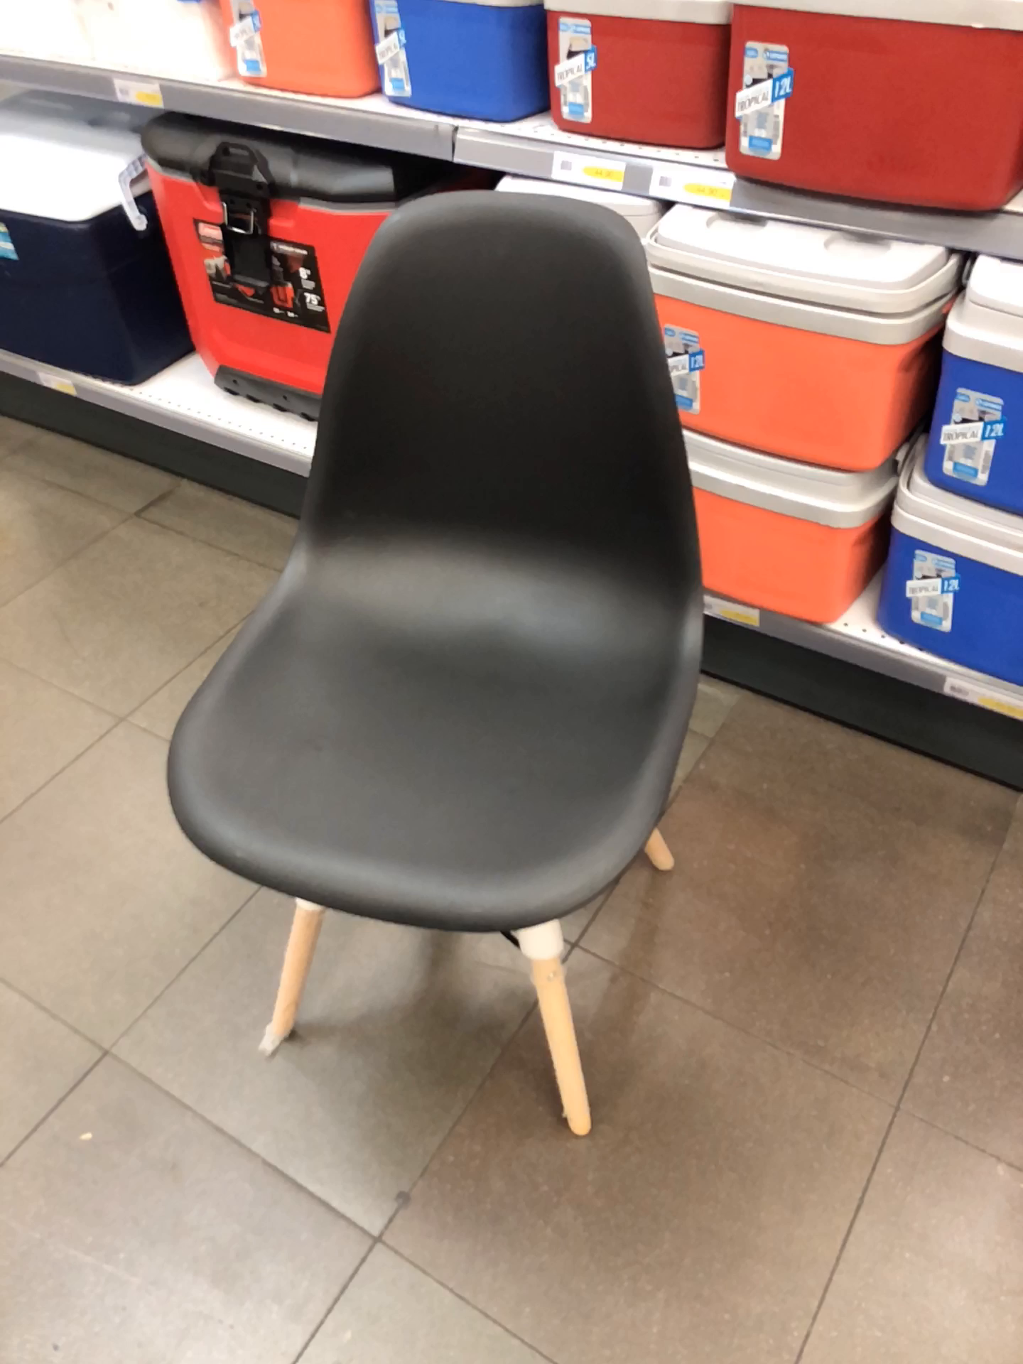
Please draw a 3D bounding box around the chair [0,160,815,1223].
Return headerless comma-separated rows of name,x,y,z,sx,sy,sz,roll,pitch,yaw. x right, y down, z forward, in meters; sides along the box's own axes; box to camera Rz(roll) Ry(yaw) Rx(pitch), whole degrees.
chair,-0.059,0.000,1.038,0.500,0.725,0.553,12,45,18
